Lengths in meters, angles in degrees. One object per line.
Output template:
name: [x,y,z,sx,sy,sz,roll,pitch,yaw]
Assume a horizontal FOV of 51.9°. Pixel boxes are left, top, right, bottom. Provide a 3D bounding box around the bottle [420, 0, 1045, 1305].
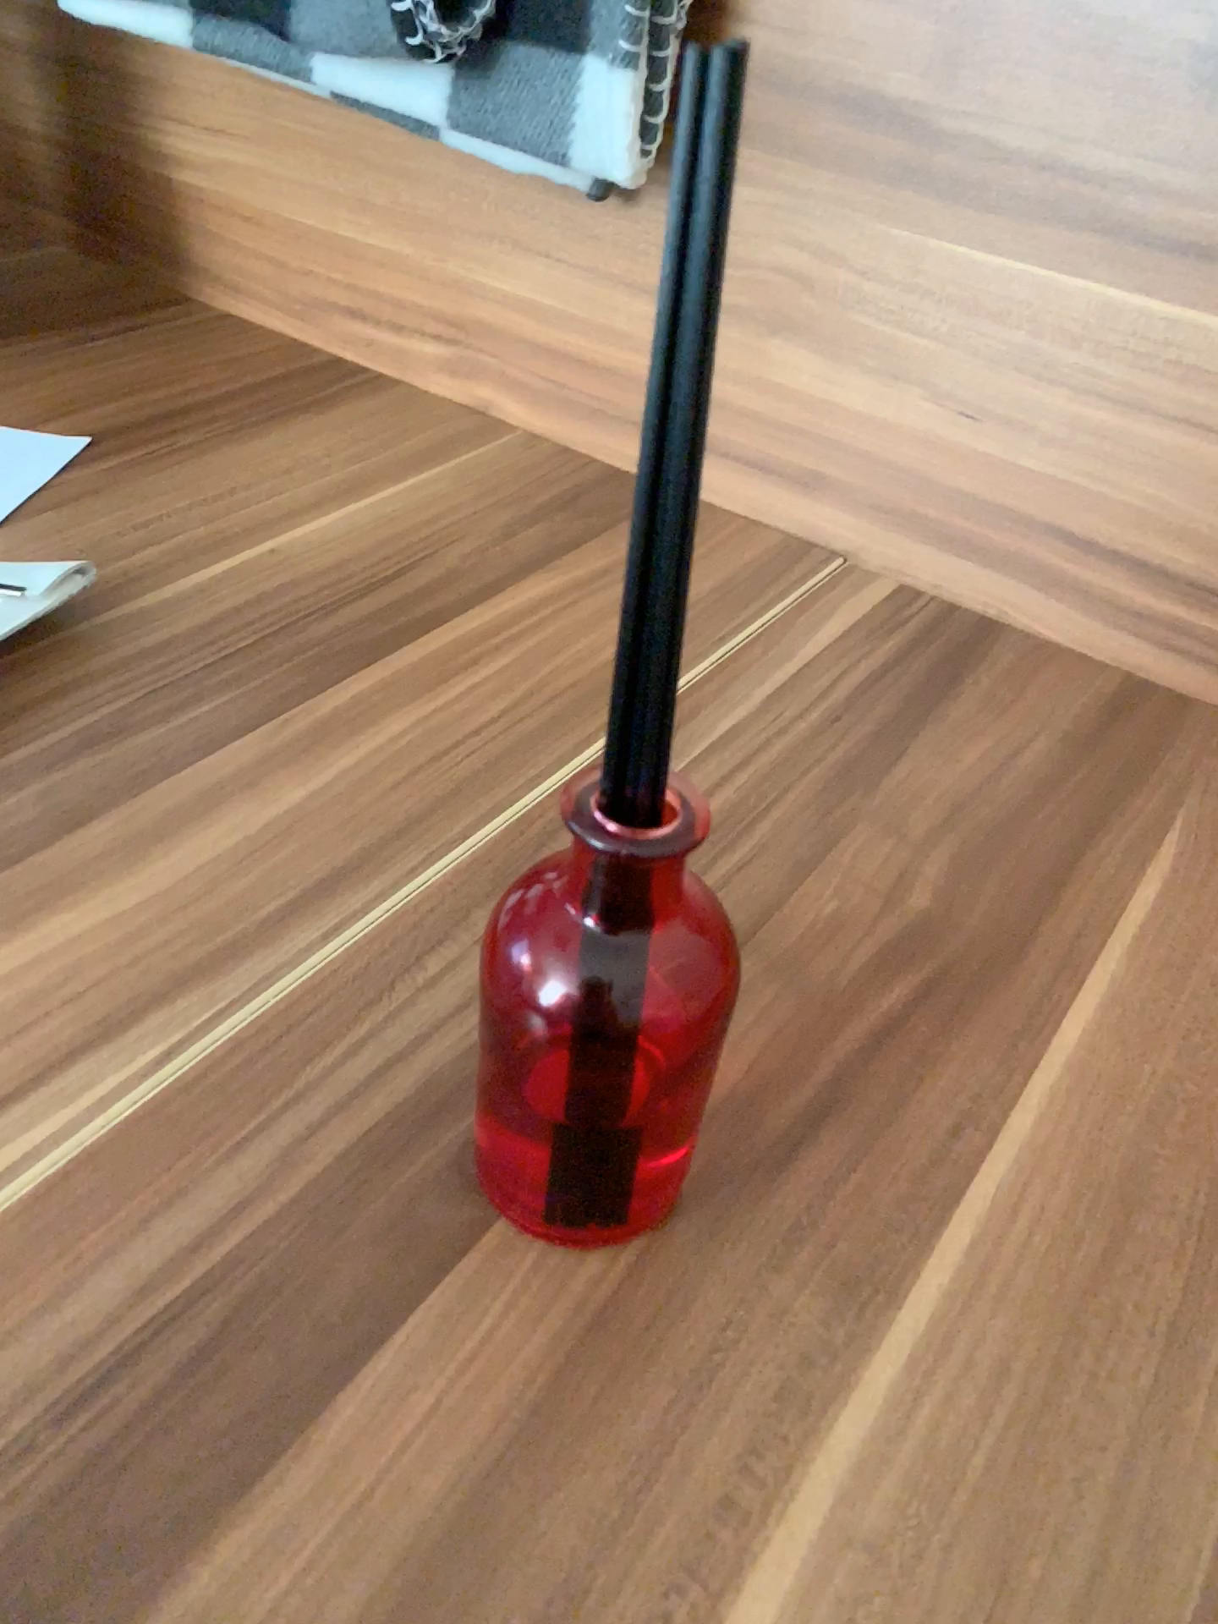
bottle: [0.005,-0.007,0.234,0.060,0.239,0.050,32,45,27]
